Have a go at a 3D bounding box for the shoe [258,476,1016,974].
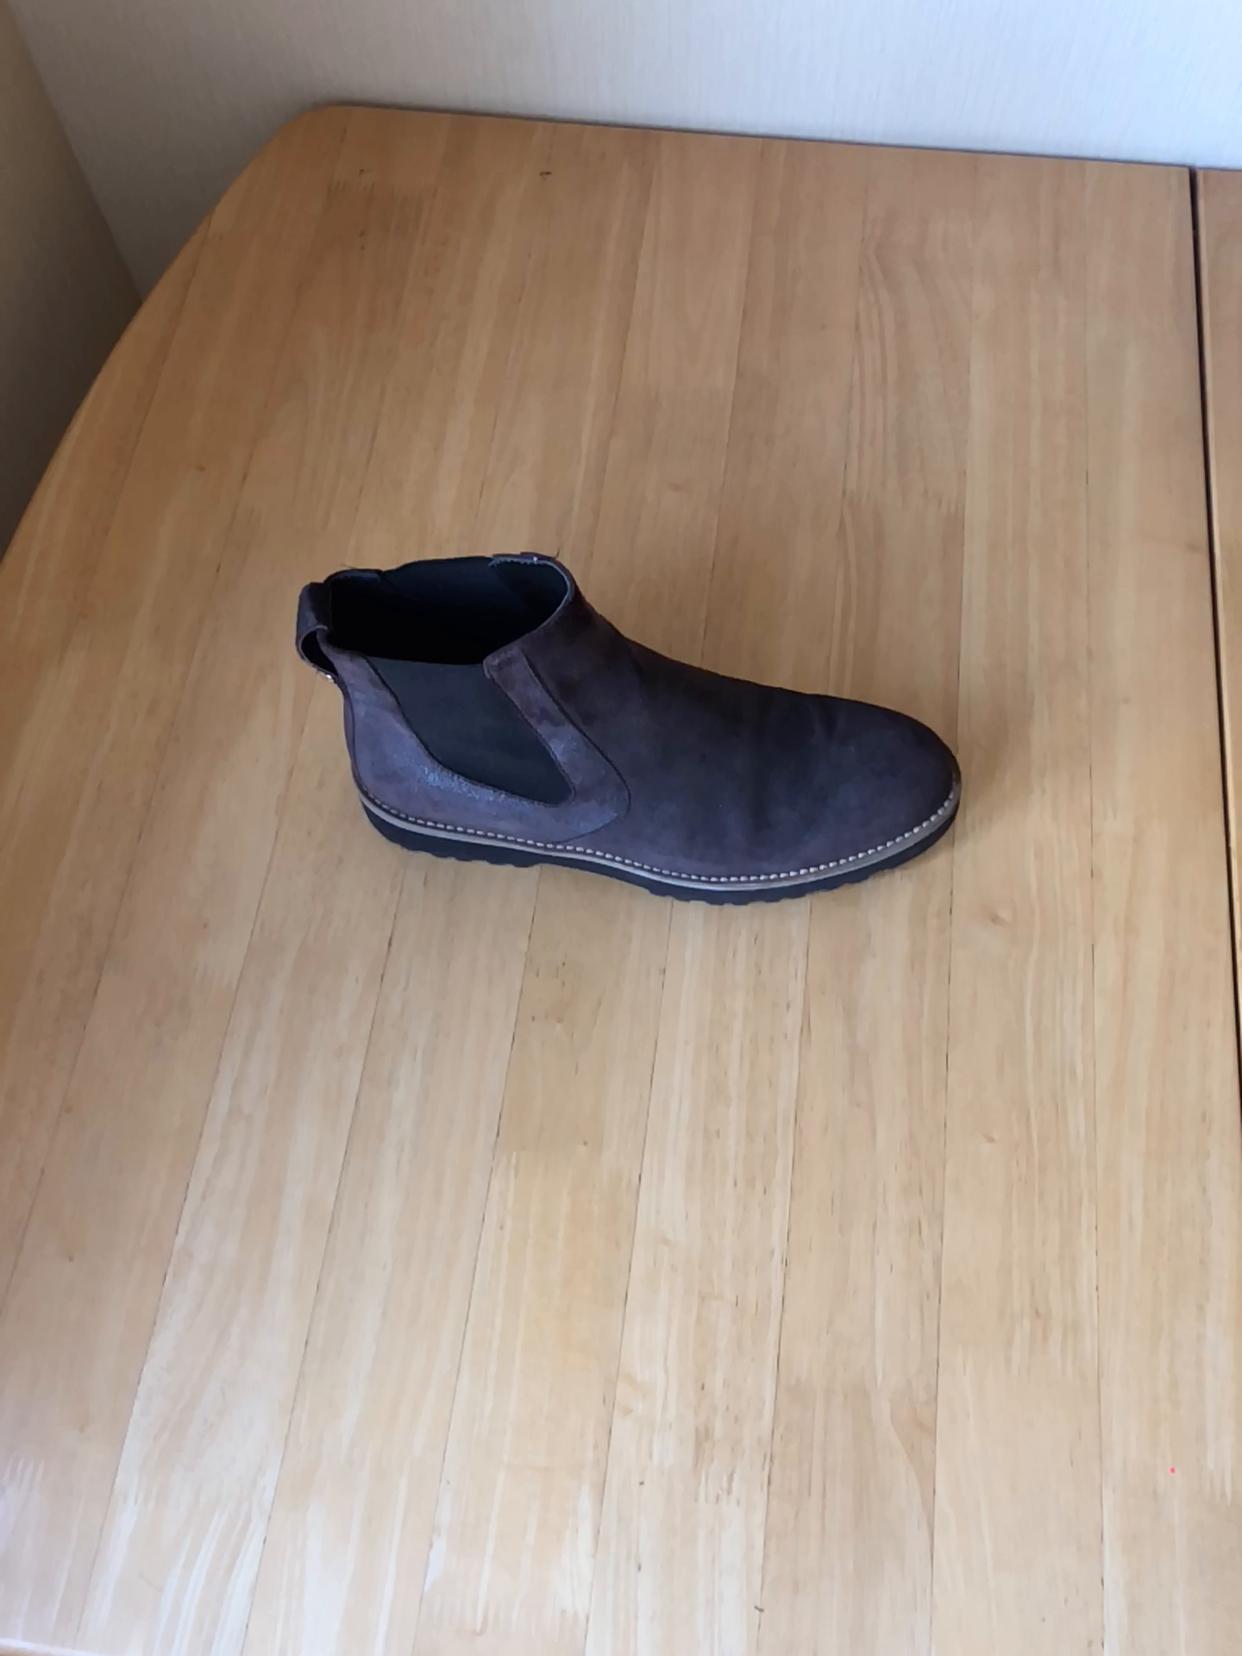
[{"bbox_3d":[0.009,-0.031,0.477,0.220,0.120,0.100,8,66,5],"label":"shoe"}]
